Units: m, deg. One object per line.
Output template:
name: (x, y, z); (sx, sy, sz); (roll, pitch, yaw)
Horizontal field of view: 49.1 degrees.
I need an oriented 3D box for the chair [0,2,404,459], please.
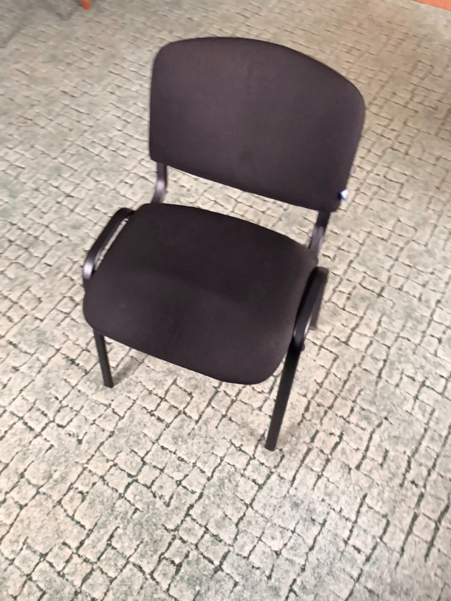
chair: (-0.034, -0.111, 1.195); (0.580, 0.785, 0.603); (19, 61, 13)
